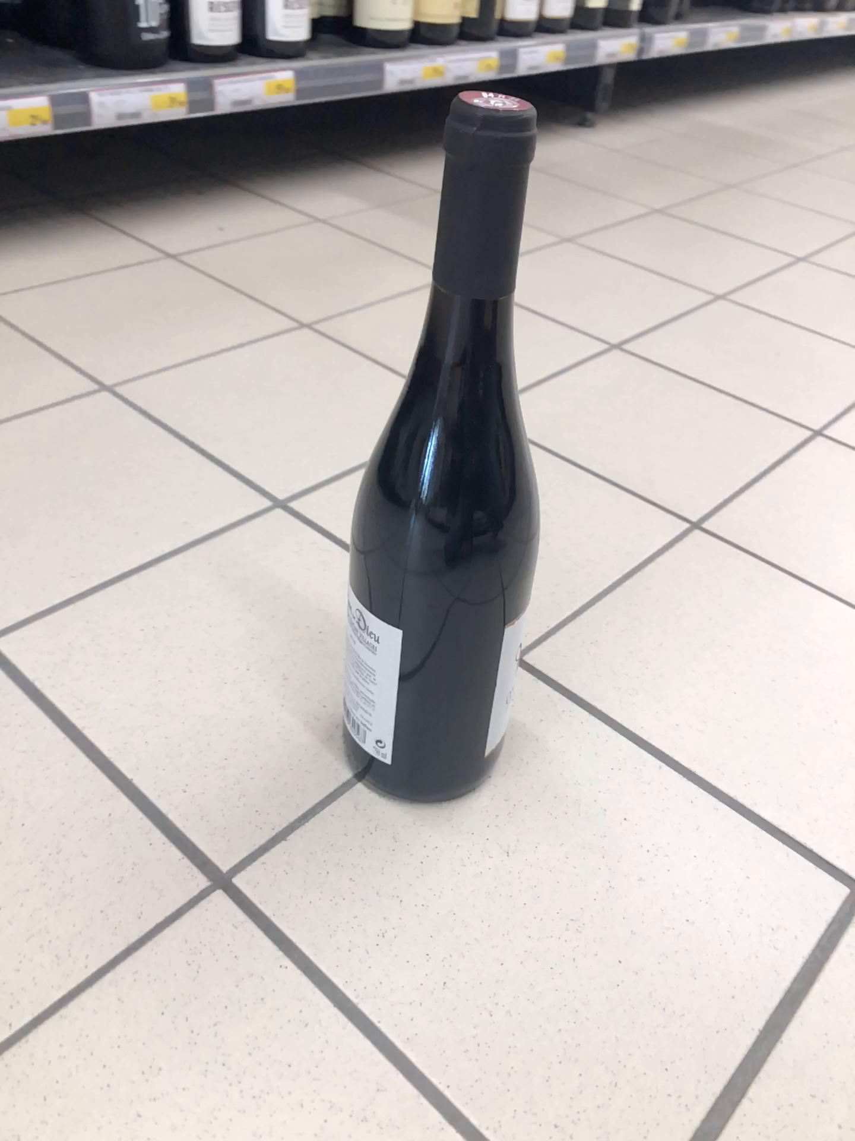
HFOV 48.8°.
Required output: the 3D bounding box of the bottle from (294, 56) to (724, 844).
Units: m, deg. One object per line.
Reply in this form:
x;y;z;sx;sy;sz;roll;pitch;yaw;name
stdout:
0.008;-0.032;0.378;0.100;0.288;0.100;4;37;-3;bottle
